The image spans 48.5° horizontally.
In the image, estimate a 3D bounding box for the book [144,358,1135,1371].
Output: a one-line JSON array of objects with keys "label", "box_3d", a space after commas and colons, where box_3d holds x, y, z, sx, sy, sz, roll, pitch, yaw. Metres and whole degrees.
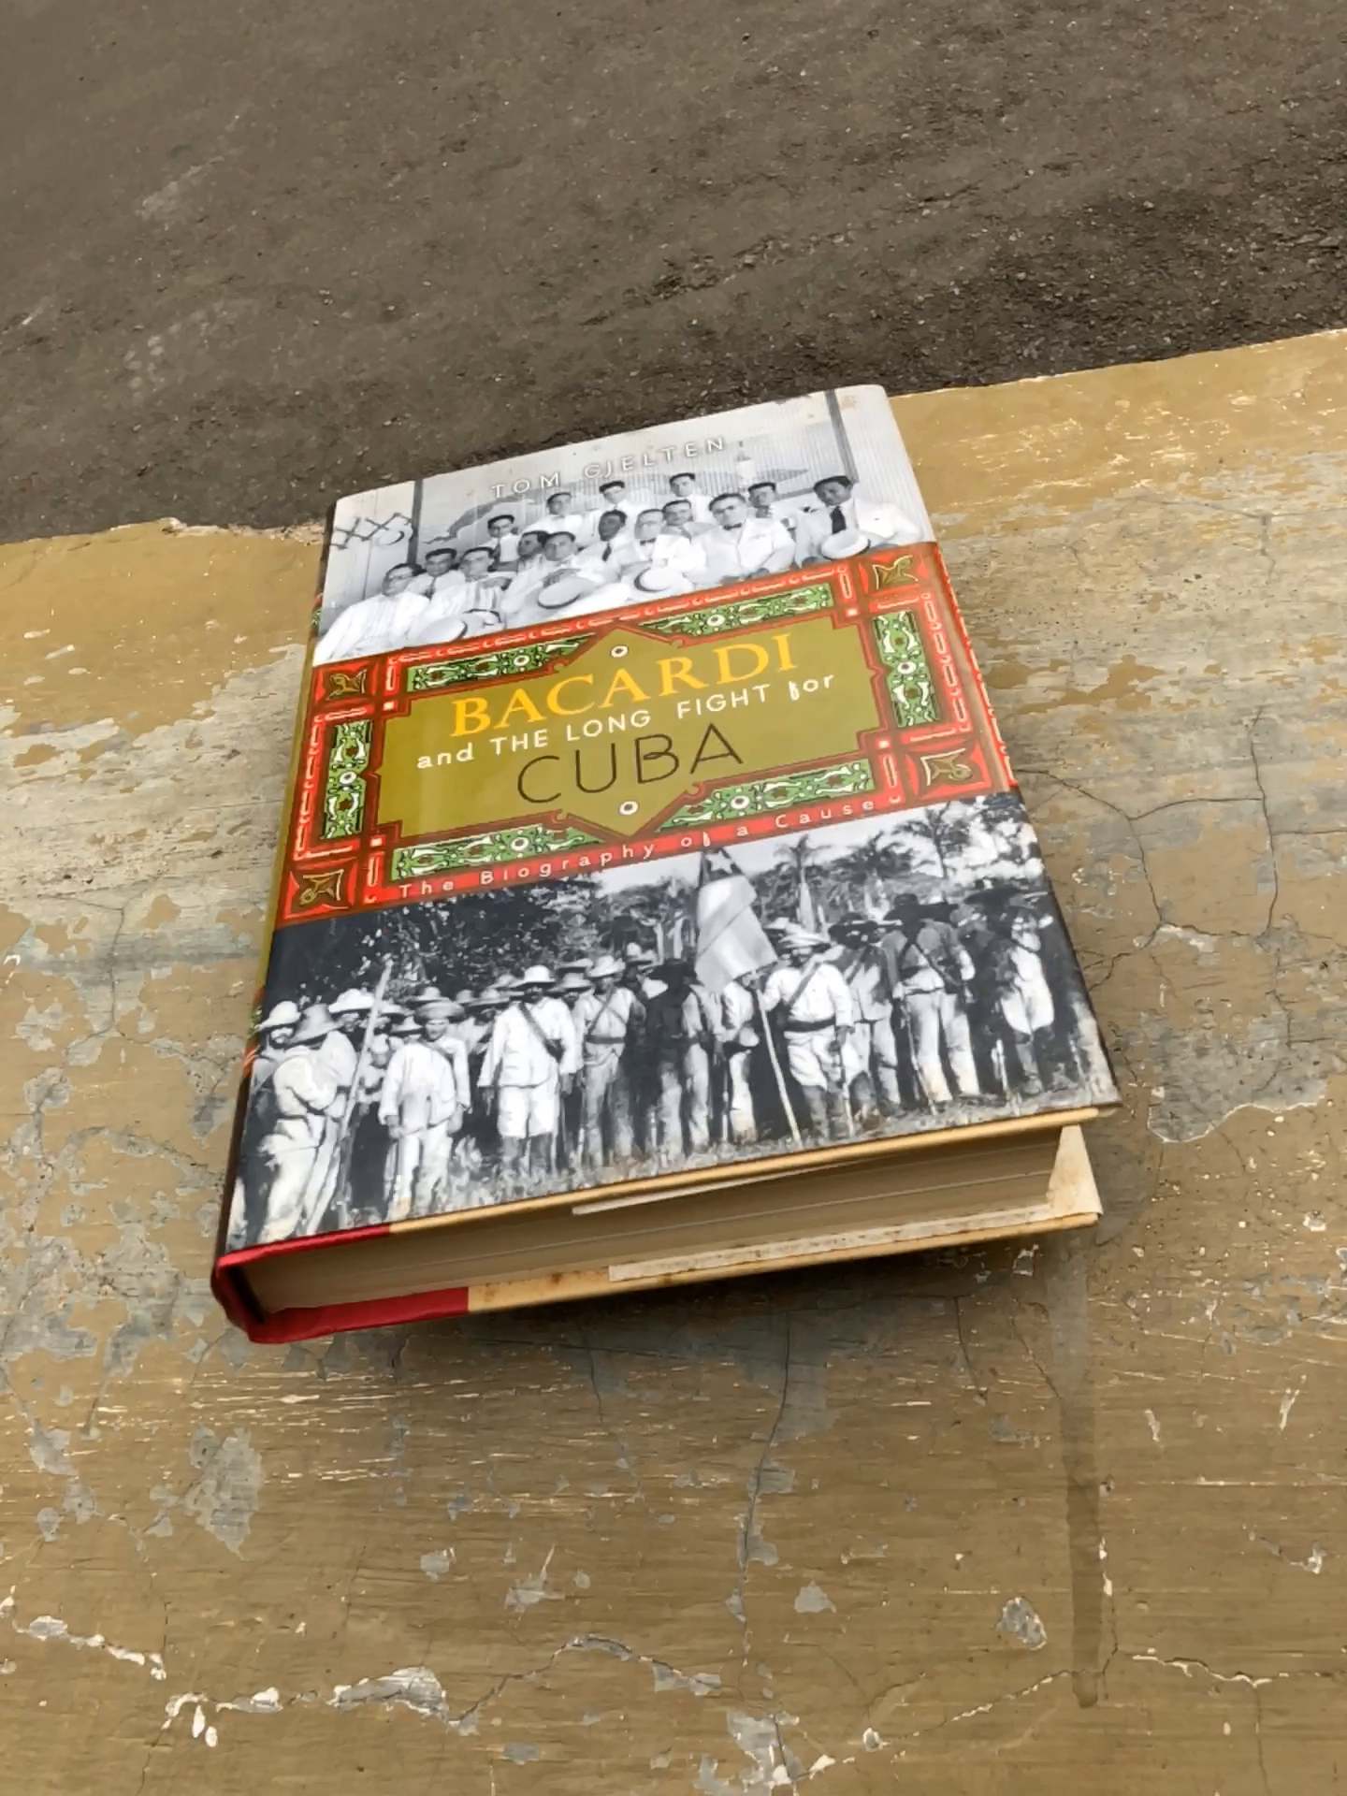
[{"label": "book", "box_3d": [-0.010, -0.028, 0.355, 0.170, 0.050, 0.251, -9, 47, 6]}]
